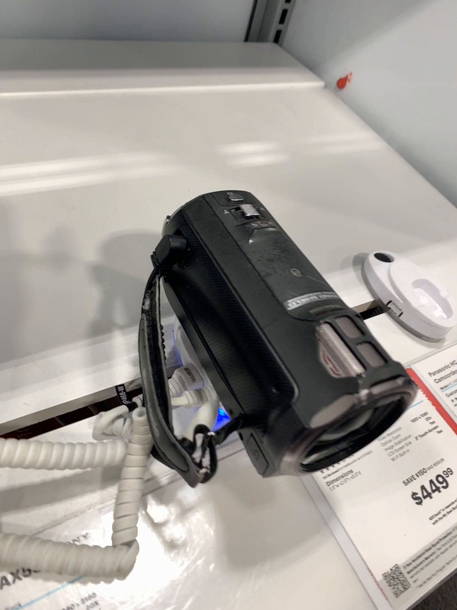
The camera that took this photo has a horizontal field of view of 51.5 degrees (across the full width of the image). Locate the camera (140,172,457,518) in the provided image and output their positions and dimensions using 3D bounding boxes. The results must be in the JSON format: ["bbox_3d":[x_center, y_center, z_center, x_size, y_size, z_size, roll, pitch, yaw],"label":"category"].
[{"bbox_3d":[0.018,0.006,0.215,0.065,0.061,0.139,-14,51,-28],"label":"camera"}]
